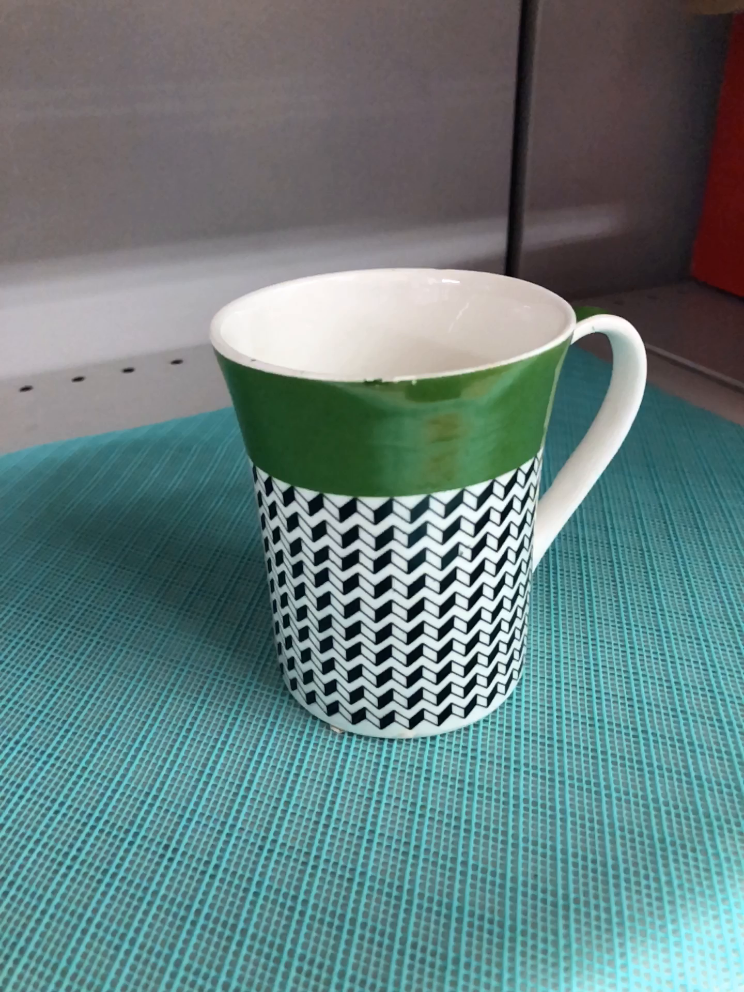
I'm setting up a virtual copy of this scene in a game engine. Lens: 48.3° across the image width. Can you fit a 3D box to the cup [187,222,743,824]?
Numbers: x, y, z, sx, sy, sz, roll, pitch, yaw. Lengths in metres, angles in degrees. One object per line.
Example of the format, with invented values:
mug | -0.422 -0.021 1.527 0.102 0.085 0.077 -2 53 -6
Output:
cup | 0.026 -0.005 0.208 0.110 0.099 0.080 -17 32 -27
